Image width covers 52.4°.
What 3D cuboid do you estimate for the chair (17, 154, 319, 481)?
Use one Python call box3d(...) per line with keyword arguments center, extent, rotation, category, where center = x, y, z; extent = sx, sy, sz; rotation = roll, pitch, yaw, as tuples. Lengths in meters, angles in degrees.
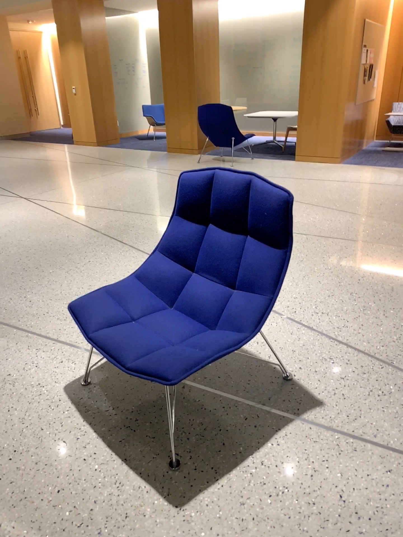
box3d(center=(-0.132, 0.069, 1.747), extent=(0.797, 0.895, 0.858), rotation=(-22, 31, -37), category="chair")
